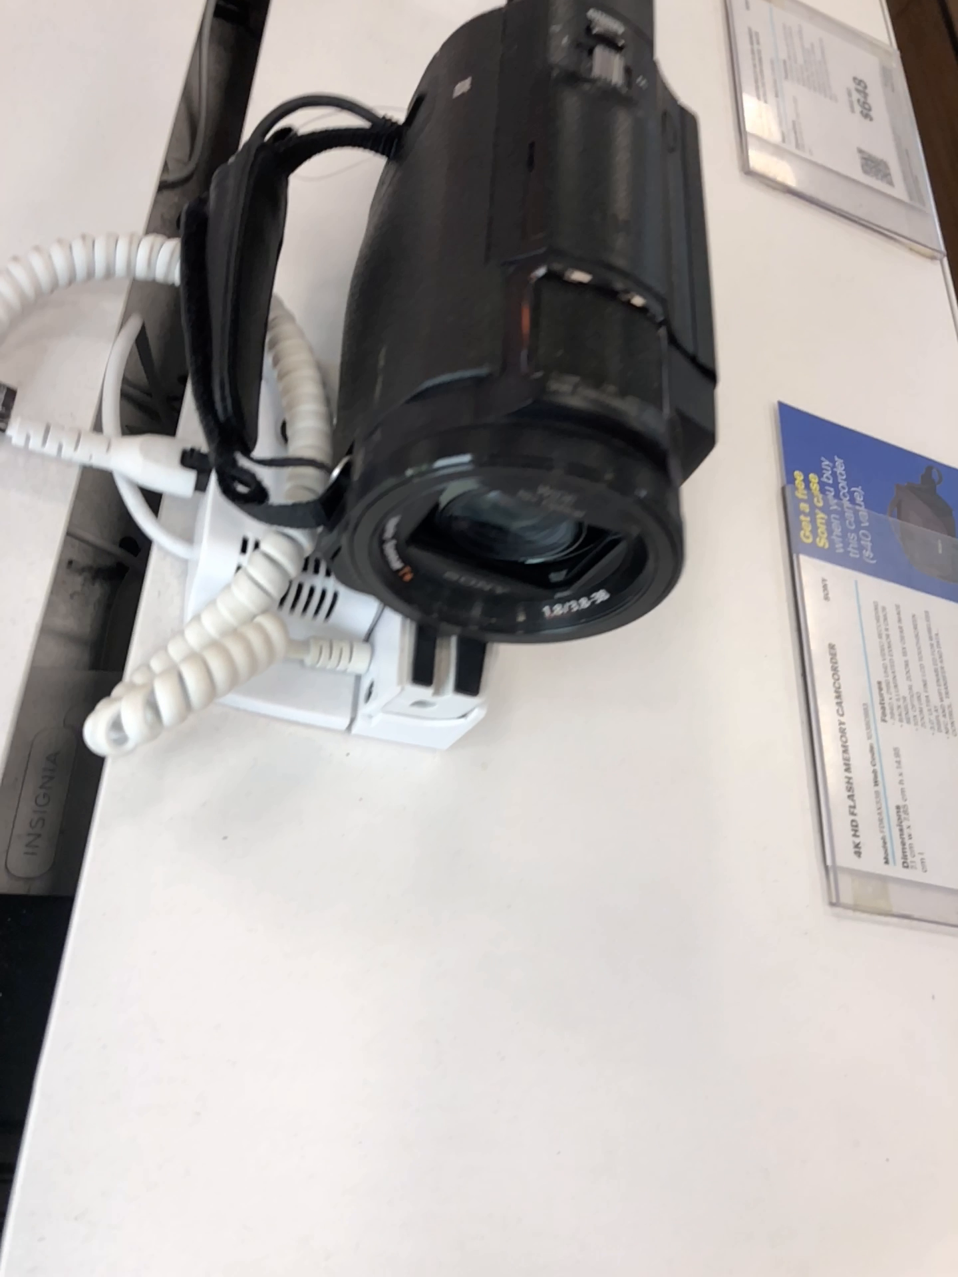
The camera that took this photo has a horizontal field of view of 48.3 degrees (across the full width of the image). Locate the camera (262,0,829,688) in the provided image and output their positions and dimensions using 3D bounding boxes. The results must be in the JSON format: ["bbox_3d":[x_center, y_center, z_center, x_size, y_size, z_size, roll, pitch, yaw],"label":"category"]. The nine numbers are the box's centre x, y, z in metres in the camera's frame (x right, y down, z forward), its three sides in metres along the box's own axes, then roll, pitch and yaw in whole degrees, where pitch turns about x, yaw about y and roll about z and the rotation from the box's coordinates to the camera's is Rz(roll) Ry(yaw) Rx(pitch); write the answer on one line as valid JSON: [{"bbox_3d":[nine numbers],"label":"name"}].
[{"bbox_3d":[0.012,-0.079,0.231,0.080,0.070,0.150,14,60,-21],"label":"camera"}]
